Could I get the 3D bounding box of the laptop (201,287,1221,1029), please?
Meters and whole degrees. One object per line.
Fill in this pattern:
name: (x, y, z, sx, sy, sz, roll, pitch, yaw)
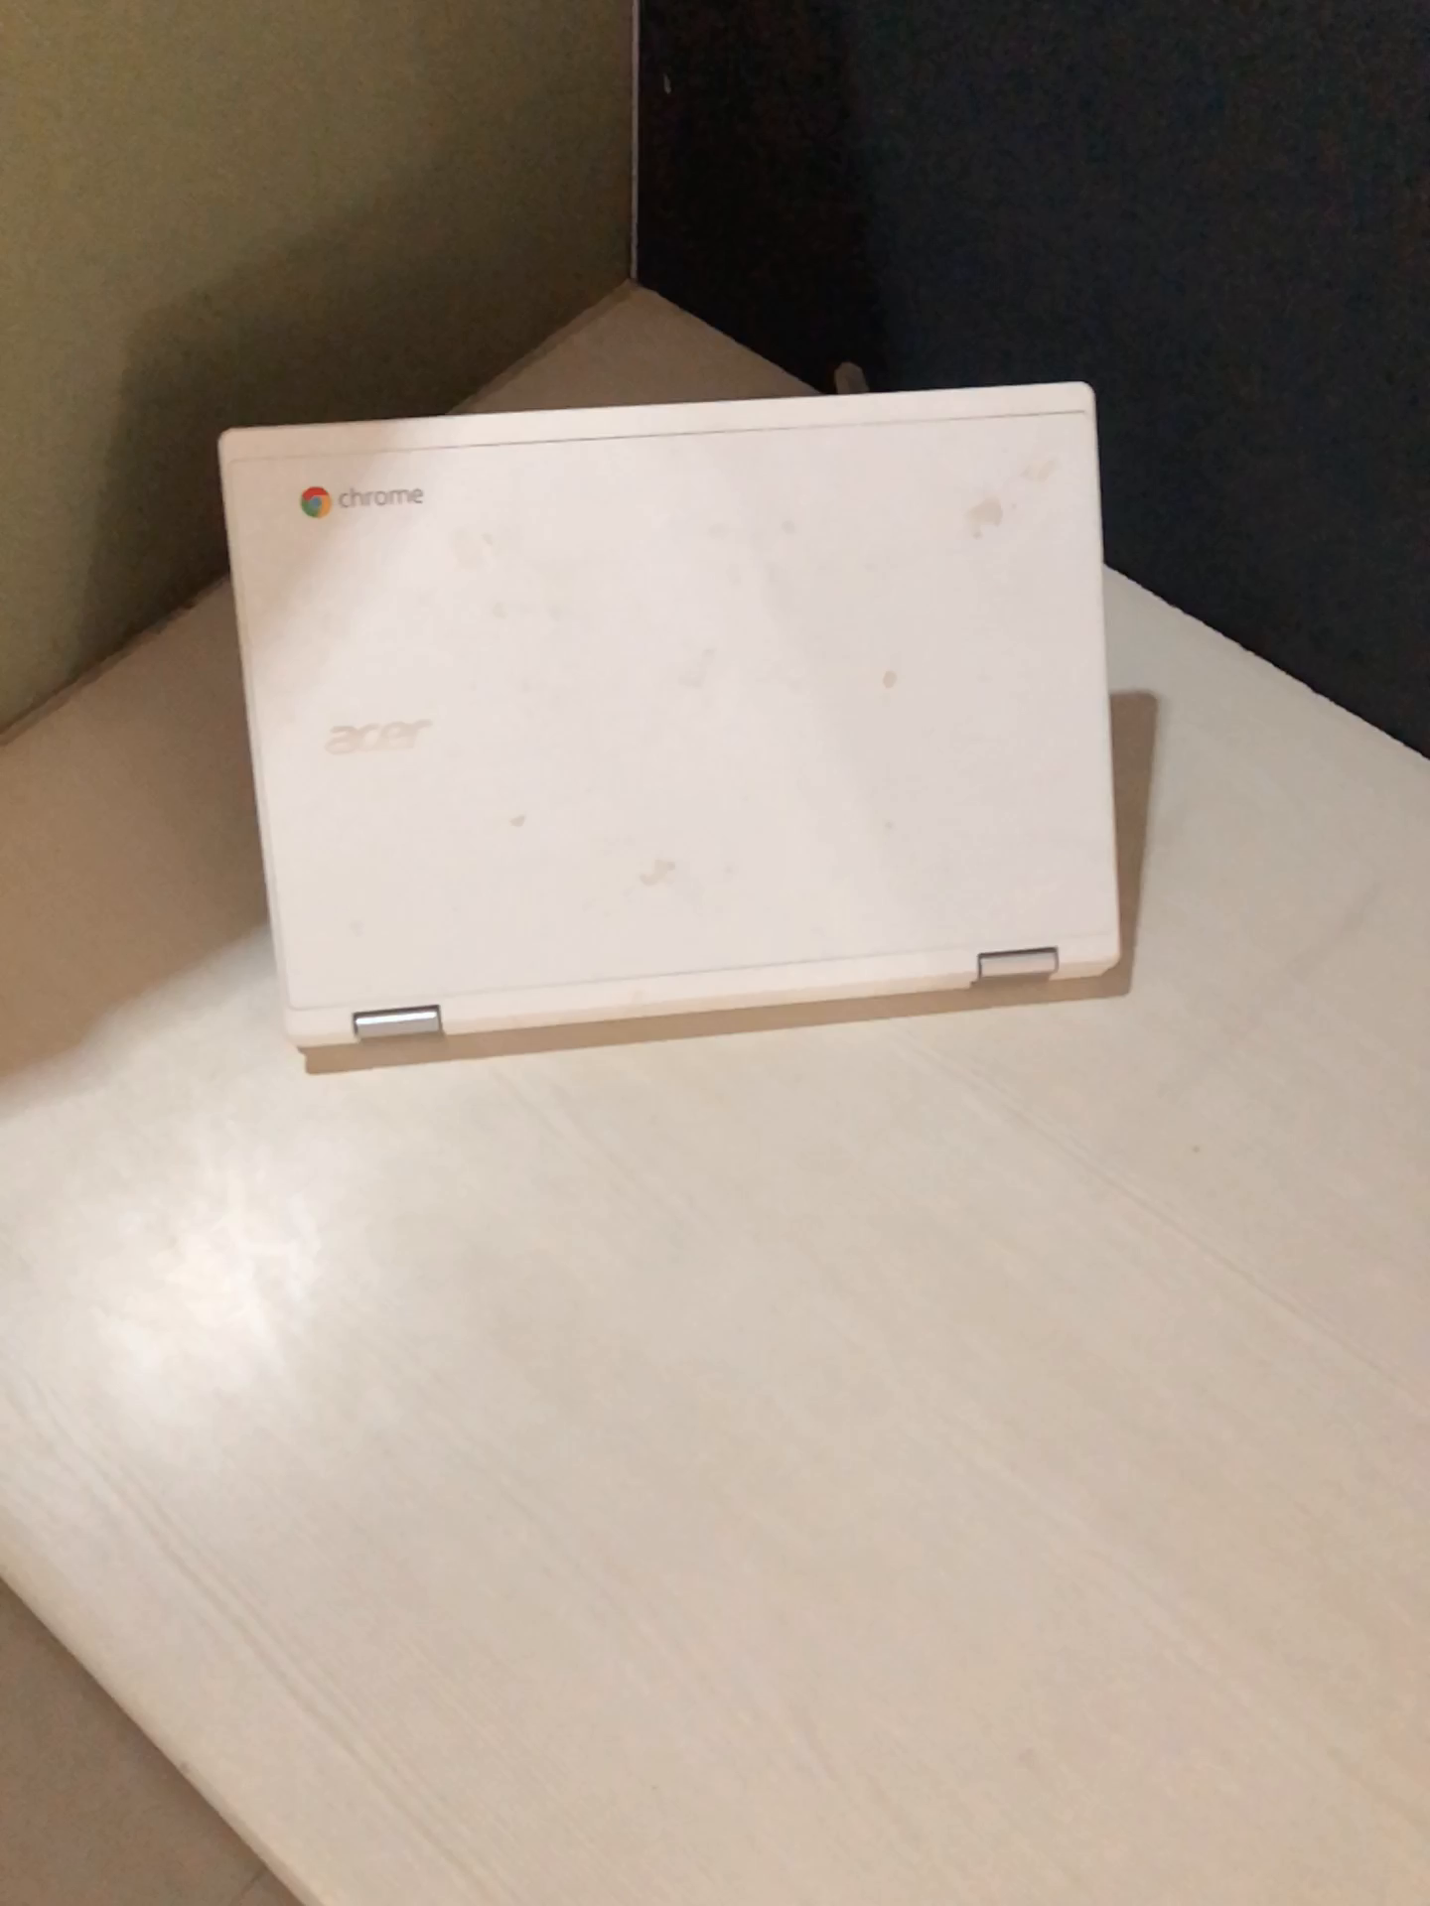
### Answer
laptop: (-0.011, -0.100, 0.529, 0.285, 0.114, 0.187, -5, 62, -5)
